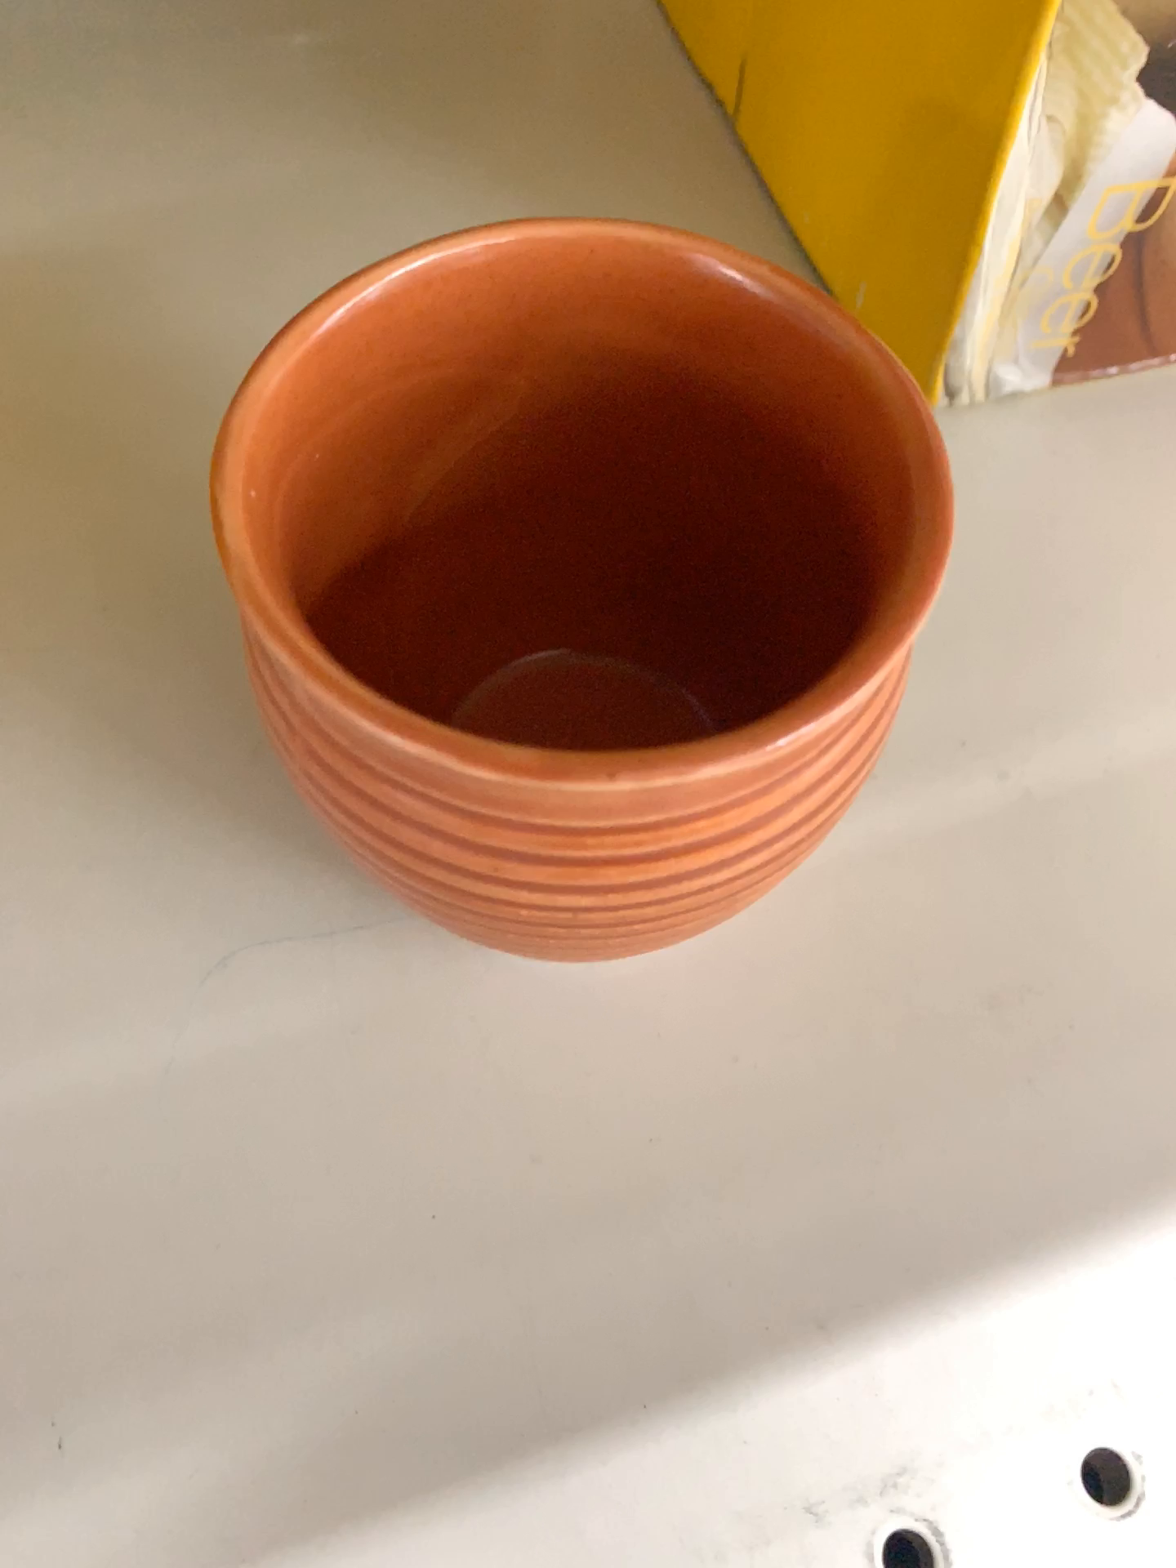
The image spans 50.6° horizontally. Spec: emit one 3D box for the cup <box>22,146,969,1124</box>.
[{"bbox_3d":[-0.005,-0.010,0.131,0.060,0.070,0.060,1,62,-2],"label":"cup"}]
